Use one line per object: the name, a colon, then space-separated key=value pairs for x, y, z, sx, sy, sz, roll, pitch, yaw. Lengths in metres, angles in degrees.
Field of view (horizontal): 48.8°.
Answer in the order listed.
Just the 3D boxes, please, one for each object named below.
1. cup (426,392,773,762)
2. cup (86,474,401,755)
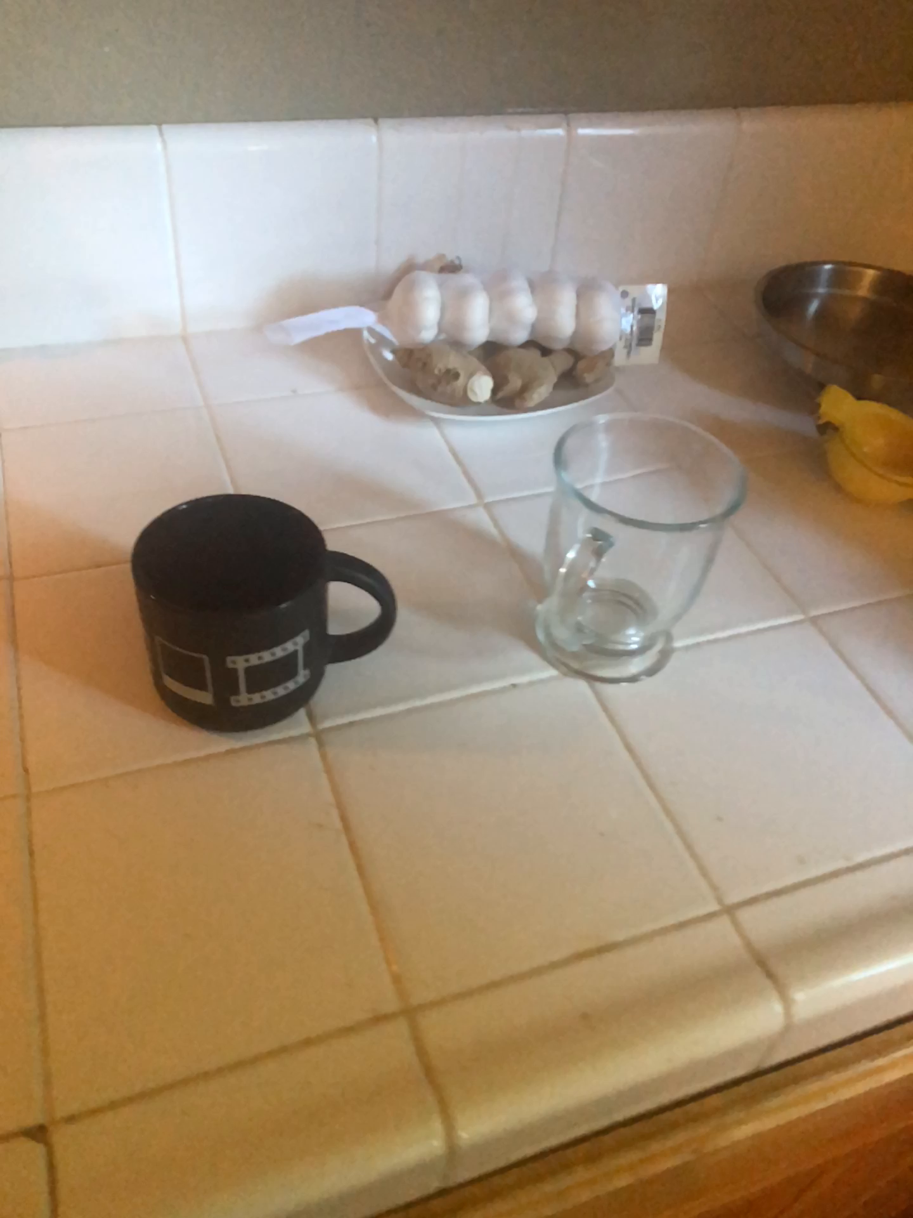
cup: x=0.072 y=-0.021 z=0.530 sx=0.100 sy=0.109 sz=0.141 roll=35 pitch=51 yaw=26
cup: x=-0.096 y=0.002 z=0.489 sx=0.130 sy=0.089 sz=0.101 roll=1 pitch=45 yaw=-7
